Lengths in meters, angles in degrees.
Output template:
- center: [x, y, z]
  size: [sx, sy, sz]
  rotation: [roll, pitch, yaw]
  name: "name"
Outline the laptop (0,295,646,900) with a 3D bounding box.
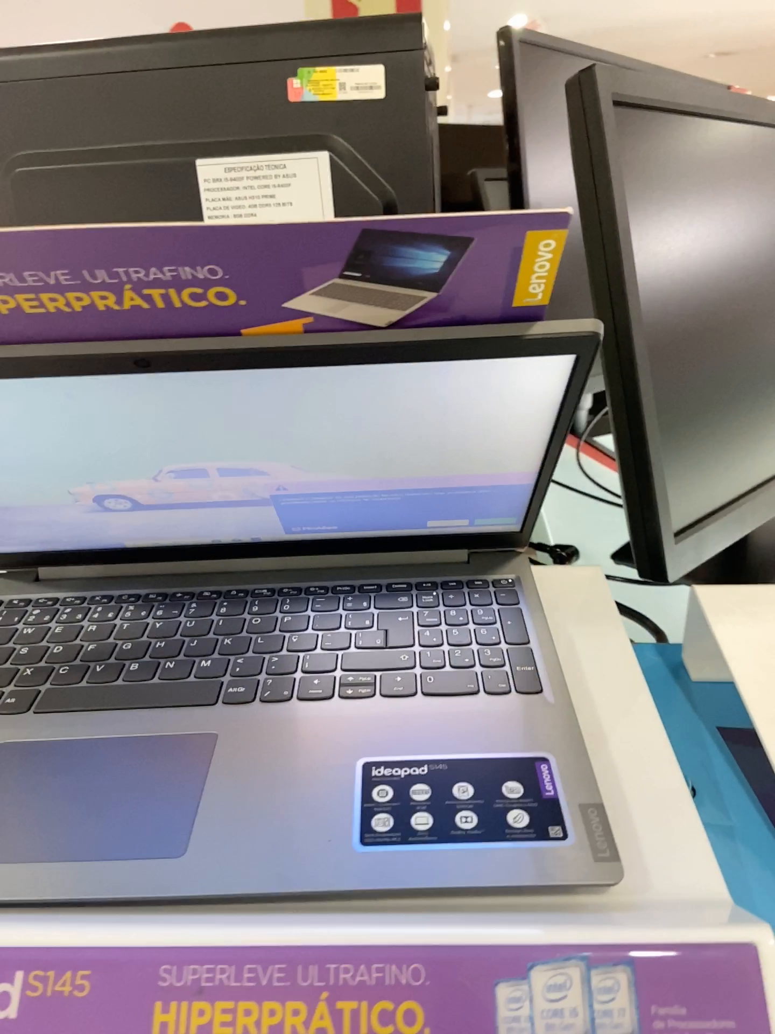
- center: [-0.094, 0.009, 0.385]
  size: [0.356, 0.161, 0.245]
  rotation: [-2, 25, 1]
  name: "laptop"
